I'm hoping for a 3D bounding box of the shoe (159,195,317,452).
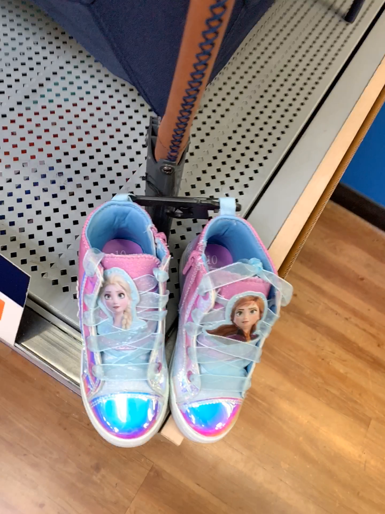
[{"bbox_3d":[0.025,0.058,0.333,0.089,0.102,0.183,4,66,-13],"label":"shoe"}]

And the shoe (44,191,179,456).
[{"bbox_3d":[-0.059,0.054,0.320,0.079,0.102,0.183,1,67,-9],"label":"shoe"}]
